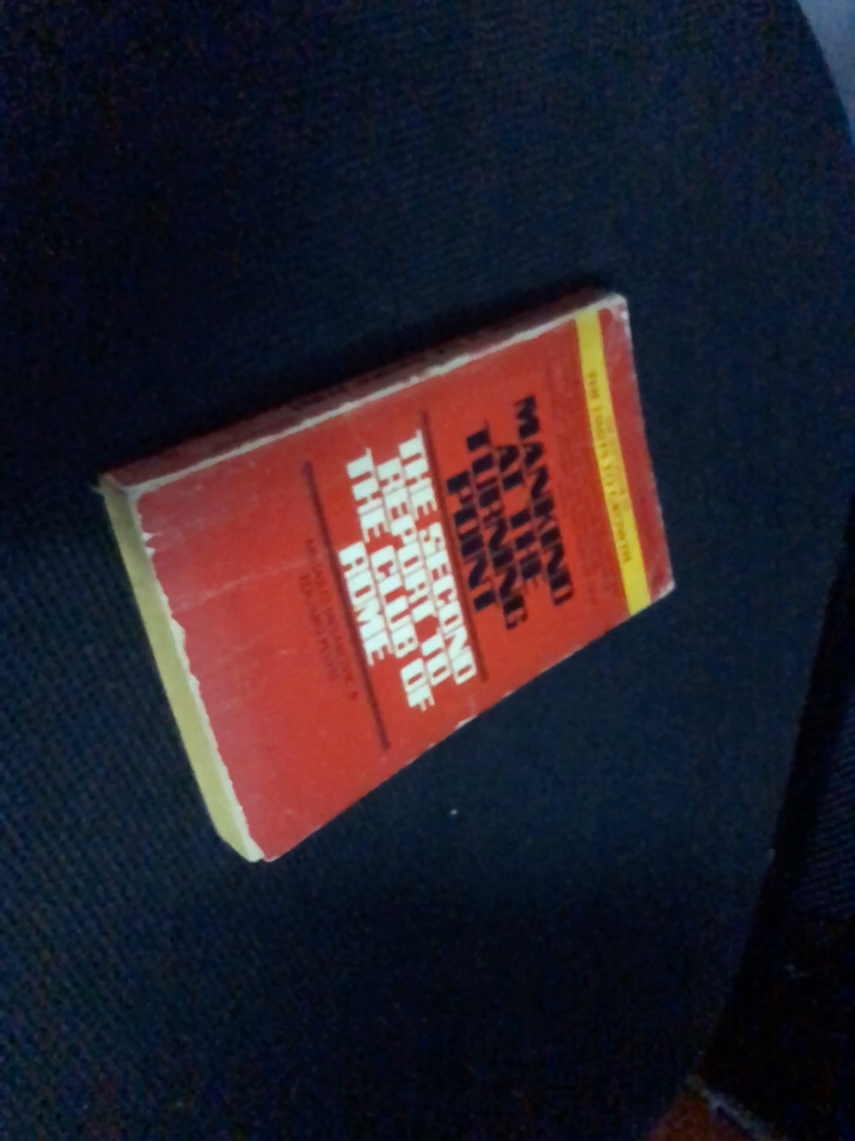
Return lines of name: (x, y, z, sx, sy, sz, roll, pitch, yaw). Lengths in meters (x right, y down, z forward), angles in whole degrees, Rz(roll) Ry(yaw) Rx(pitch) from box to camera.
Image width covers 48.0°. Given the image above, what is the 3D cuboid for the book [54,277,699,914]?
book: (0.006, -0.004, 0.292, 0.195, 0.025, 0.117, -29, 115, -32)
